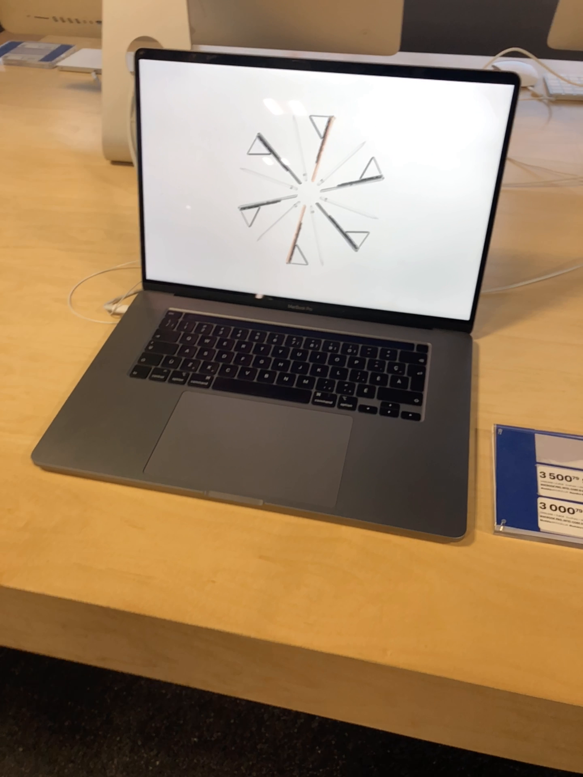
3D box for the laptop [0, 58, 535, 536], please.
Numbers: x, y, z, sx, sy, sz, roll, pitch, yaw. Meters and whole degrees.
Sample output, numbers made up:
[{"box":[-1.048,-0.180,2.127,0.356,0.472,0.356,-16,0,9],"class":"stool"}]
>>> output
[{"box":[-0.011,-0.102,0.555,0.352,0.230,0.316,8,44,9],"class":"laptop"}]
